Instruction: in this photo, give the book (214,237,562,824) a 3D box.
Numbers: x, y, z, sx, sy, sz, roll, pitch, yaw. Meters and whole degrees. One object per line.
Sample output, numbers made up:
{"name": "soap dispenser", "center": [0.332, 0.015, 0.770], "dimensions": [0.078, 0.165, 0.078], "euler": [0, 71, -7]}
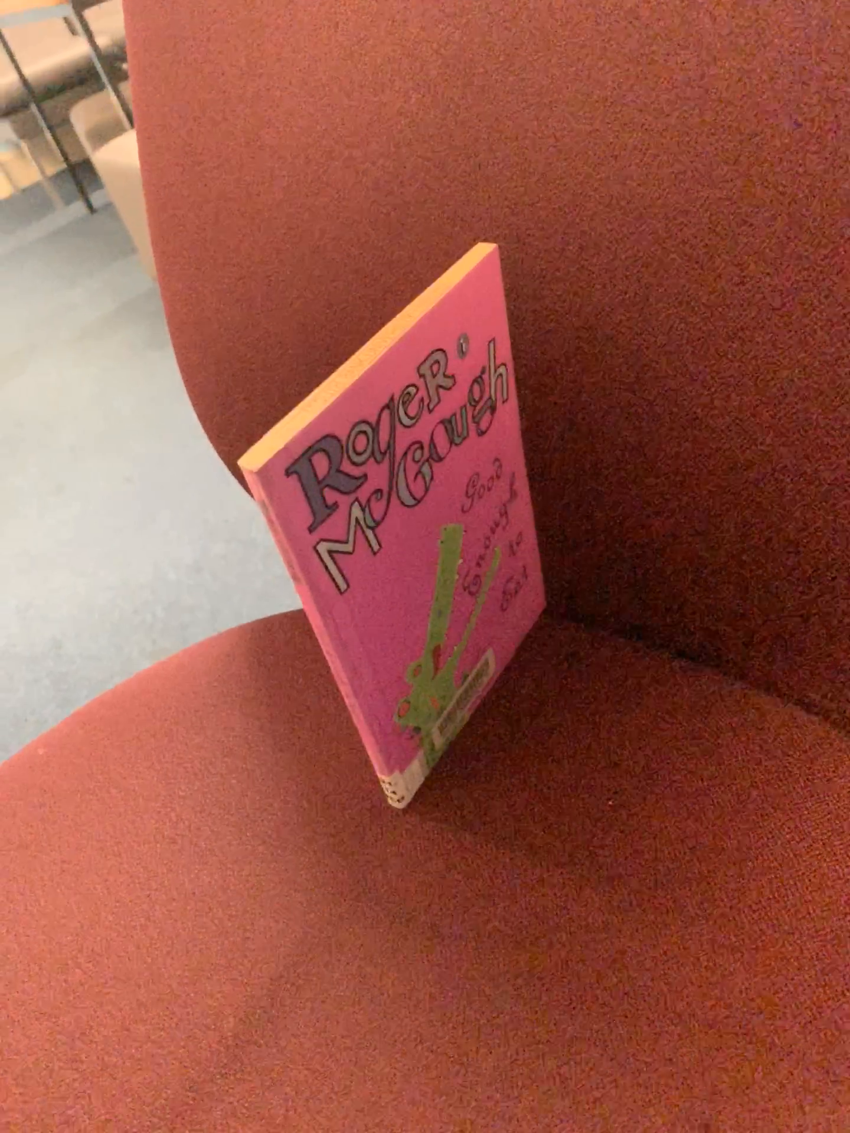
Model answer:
{"name": "book", "center": [0.004, -0.006, 0.346], "dimensions": [0.017, 0.189, 0.141], "euler": [21, 53, 31]}
